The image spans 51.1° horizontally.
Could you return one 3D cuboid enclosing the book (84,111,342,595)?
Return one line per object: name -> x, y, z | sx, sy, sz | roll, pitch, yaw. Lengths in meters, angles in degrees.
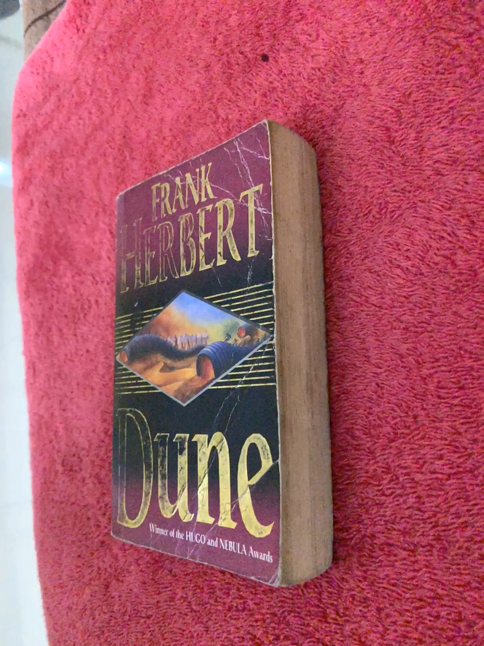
book -> -0.019, 0.013, 0.225 | 0.115, 0.039, 0.165 | -10, 76, 43
